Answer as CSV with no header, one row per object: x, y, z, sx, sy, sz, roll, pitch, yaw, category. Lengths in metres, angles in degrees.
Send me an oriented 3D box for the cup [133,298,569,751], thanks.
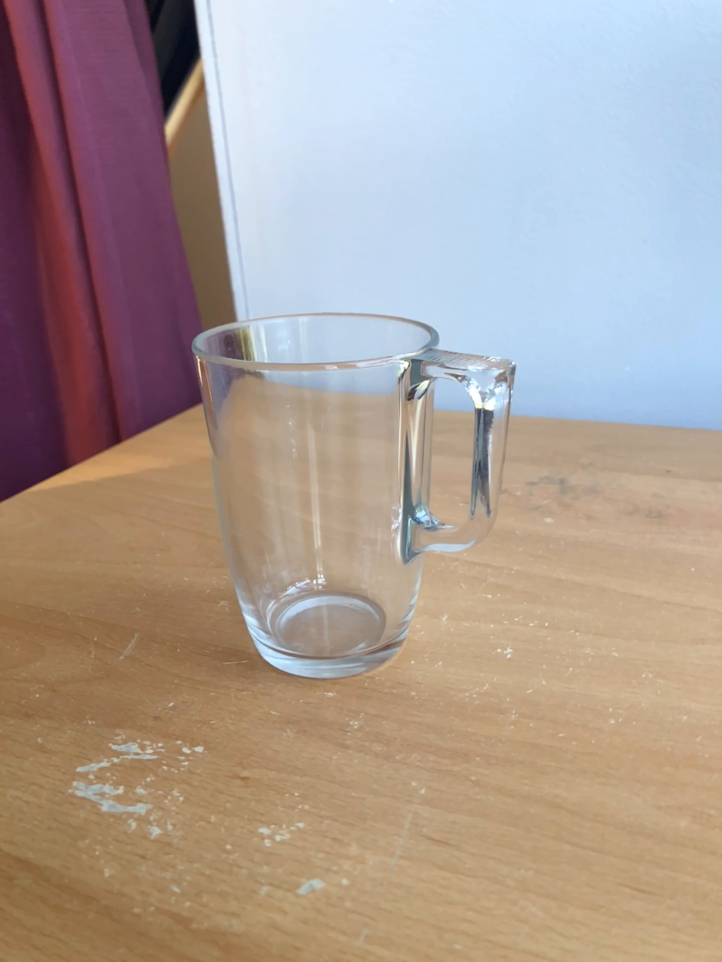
-0.001,0.002,0.255,0.103,0.103,0.078,13,26,38,cup
